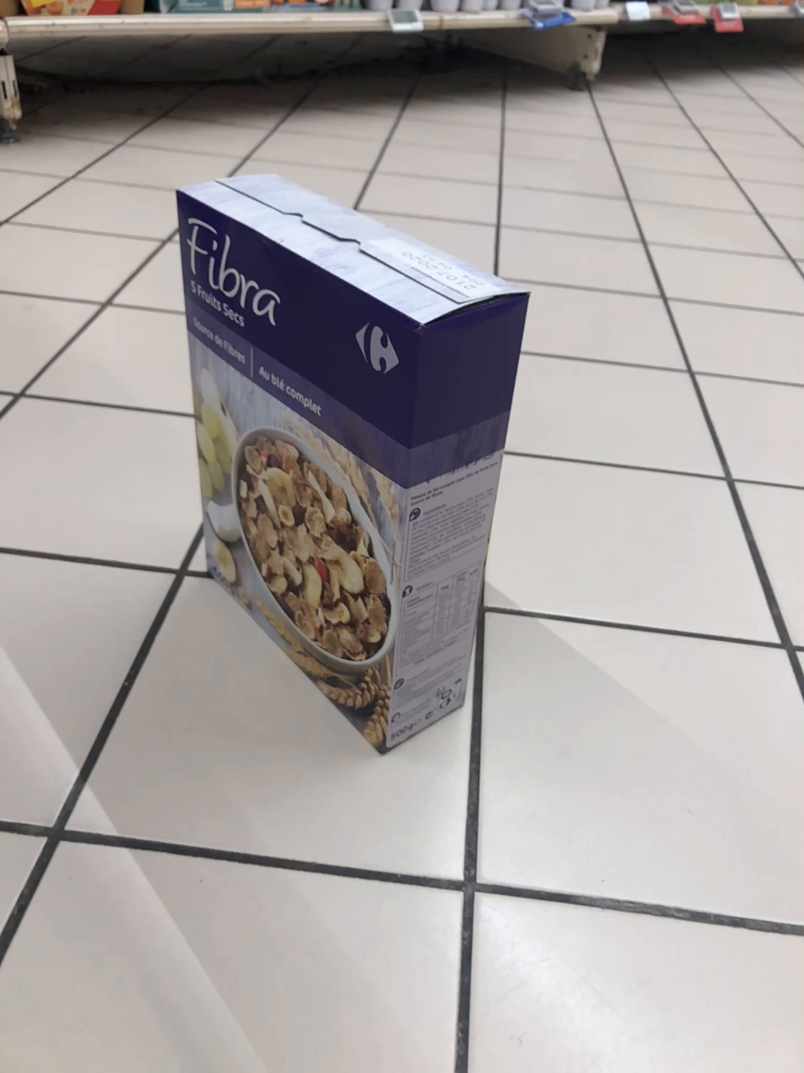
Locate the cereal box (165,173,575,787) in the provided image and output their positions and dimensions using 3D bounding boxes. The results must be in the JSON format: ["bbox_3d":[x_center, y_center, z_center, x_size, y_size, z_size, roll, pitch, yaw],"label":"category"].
[{"bbox_3d":[-0.034,-0.034,0.490,0.080,0.258,0.210,-23,45,-33],"label":"cereal box"}]
